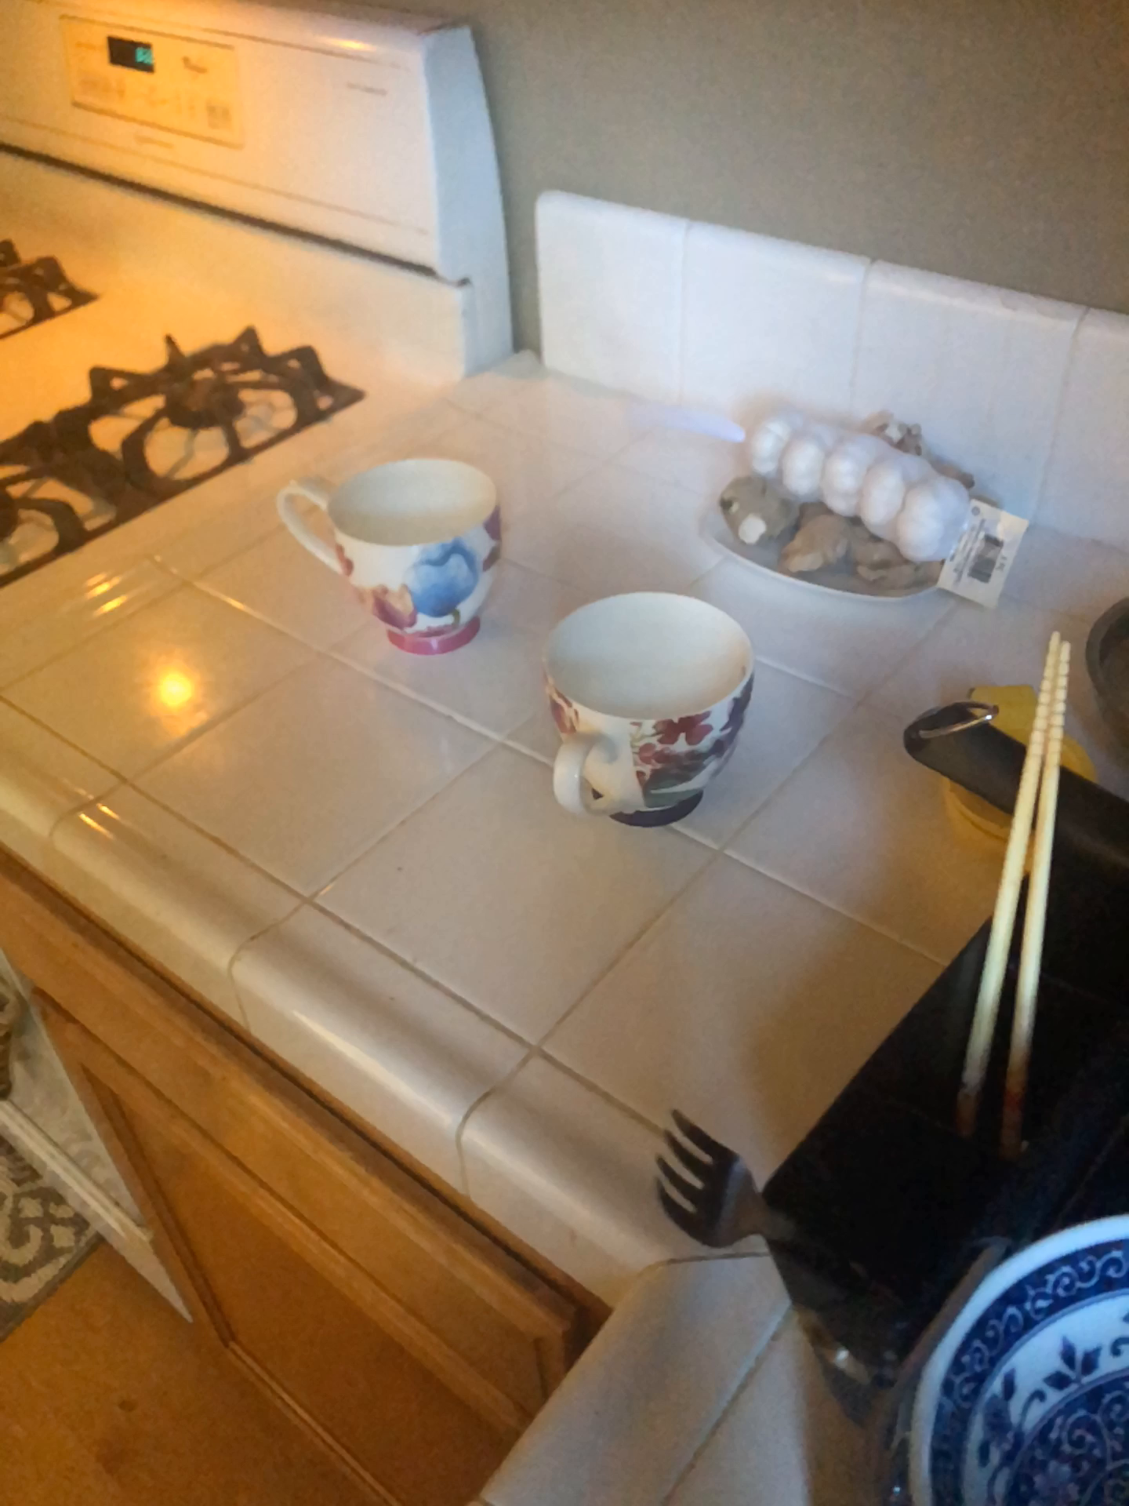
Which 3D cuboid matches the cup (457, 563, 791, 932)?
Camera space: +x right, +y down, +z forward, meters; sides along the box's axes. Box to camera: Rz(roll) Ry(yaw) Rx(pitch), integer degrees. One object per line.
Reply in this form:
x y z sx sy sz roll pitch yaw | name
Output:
0.035 -0.009 0.635 0.110 0.089 0.151 16 45 21 | cup

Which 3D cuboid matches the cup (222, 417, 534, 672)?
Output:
-0.114 -0.136 0.788 0.150 0.079 0.111 22 47 26 | cup
